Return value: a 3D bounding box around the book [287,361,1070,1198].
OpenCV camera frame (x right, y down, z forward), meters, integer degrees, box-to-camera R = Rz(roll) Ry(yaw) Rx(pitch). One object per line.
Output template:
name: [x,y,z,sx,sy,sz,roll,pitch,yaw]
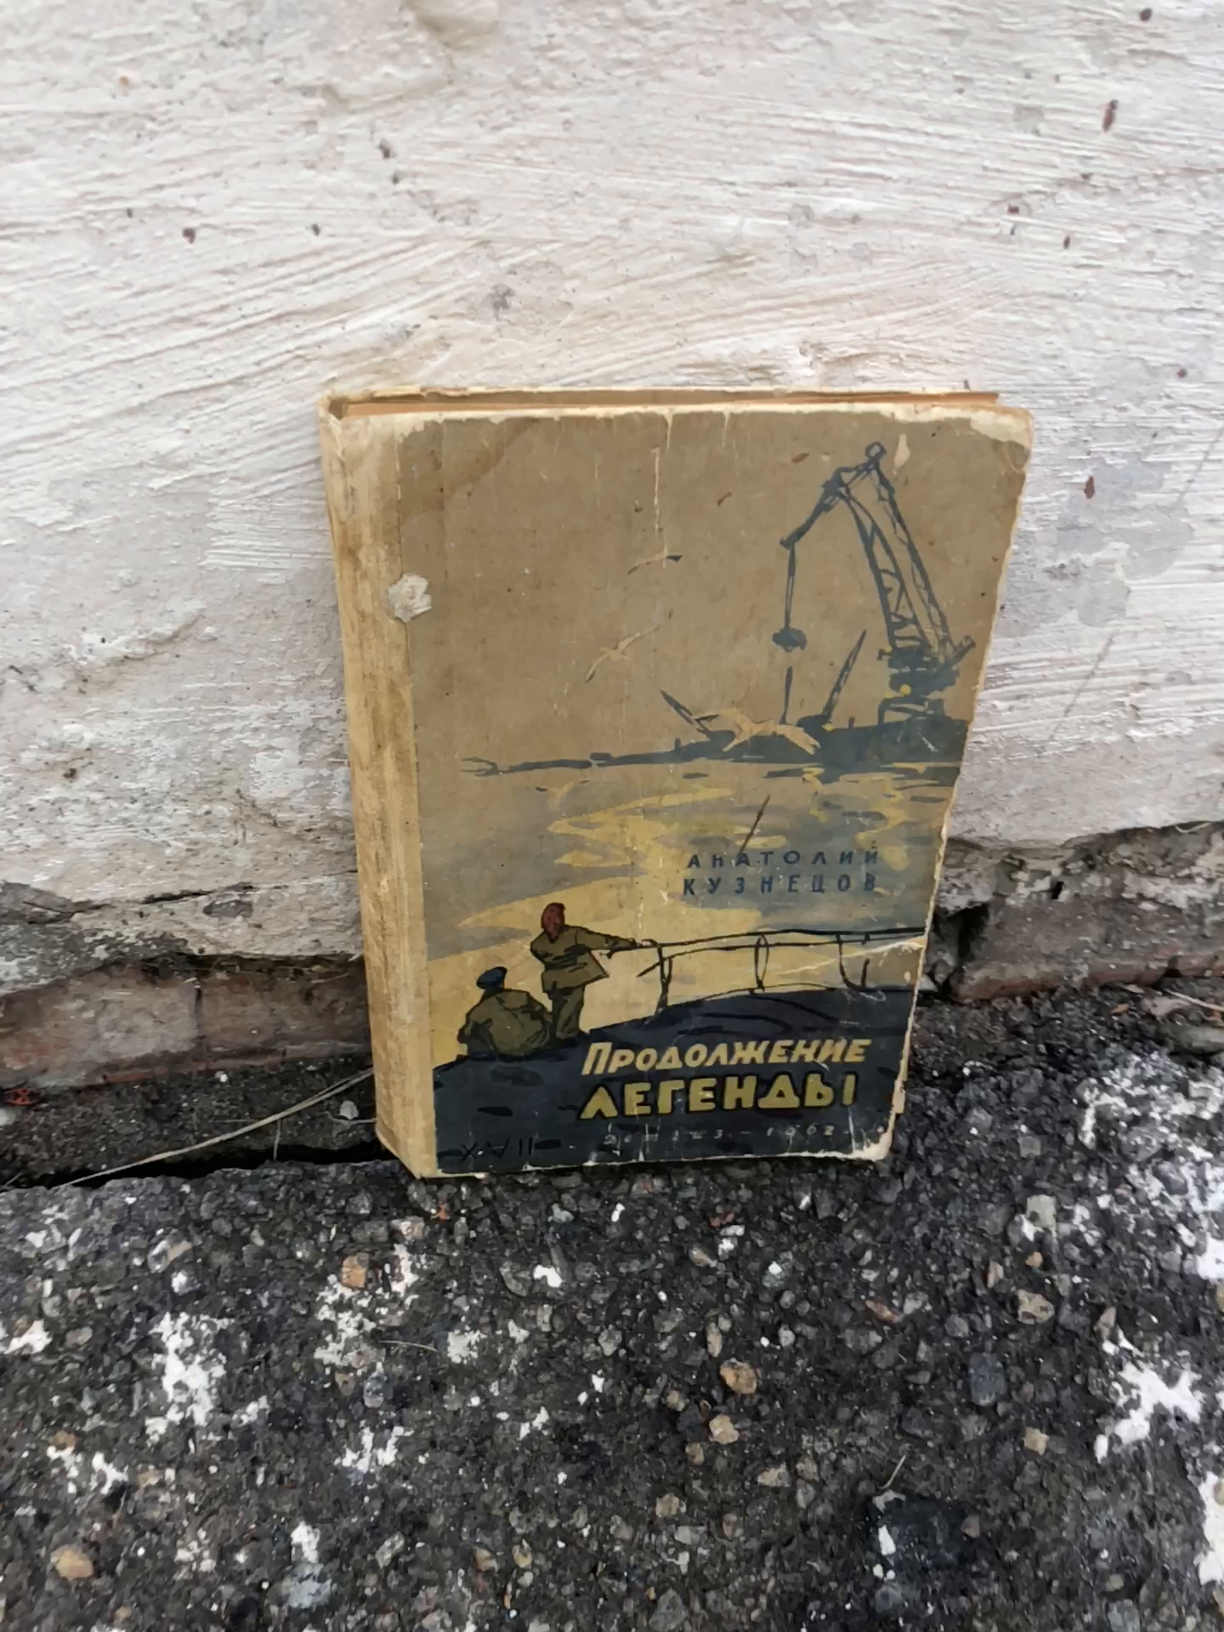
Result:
book: [0.009,0.000,0.290,0.136,0.181,0.030,-3,31,-9]
